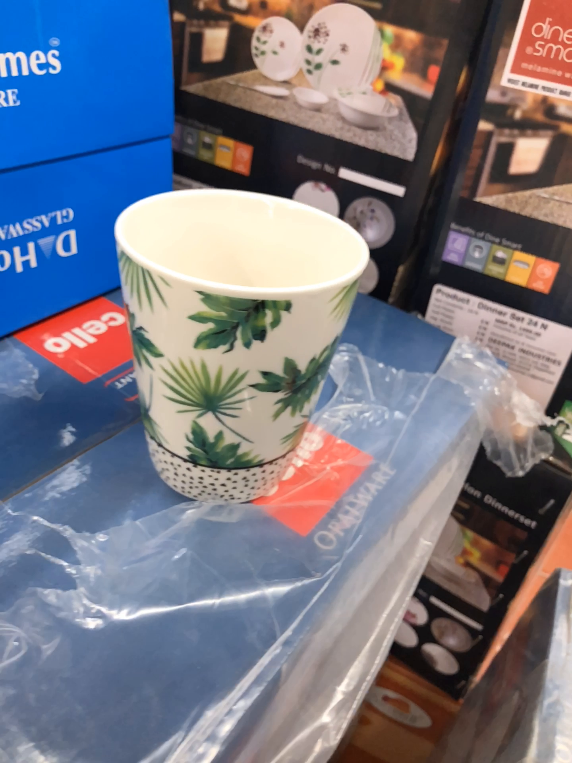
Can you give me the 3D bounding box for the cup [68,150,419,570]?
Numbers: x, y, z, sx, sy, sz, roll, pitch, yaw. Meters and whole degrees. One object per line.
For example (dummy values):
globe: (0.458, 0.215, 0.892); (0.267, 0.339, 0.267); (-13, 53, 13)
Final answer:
cup: (-0.013, -0.017, 0.253); (0.080, 0.099, 0.121); (21, 36, 12)
